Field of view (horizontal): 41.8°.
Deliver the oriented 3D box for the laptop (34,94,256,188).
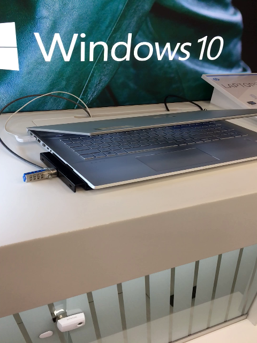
[{"bbox_3d":[0.077,-0.081,0.664,0.427,0.069,0.225,-10,32,-27],"label":"laptop"}]
